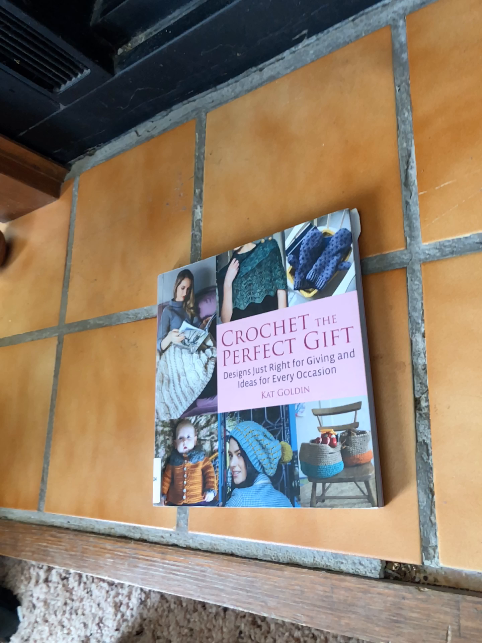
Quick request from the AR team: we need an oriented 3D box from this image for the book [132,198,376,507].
[{"bbox_3d":[-0.006,0.036,0.442,0.218,0.020,0.221,-14,70,35],"label":"book"}]
